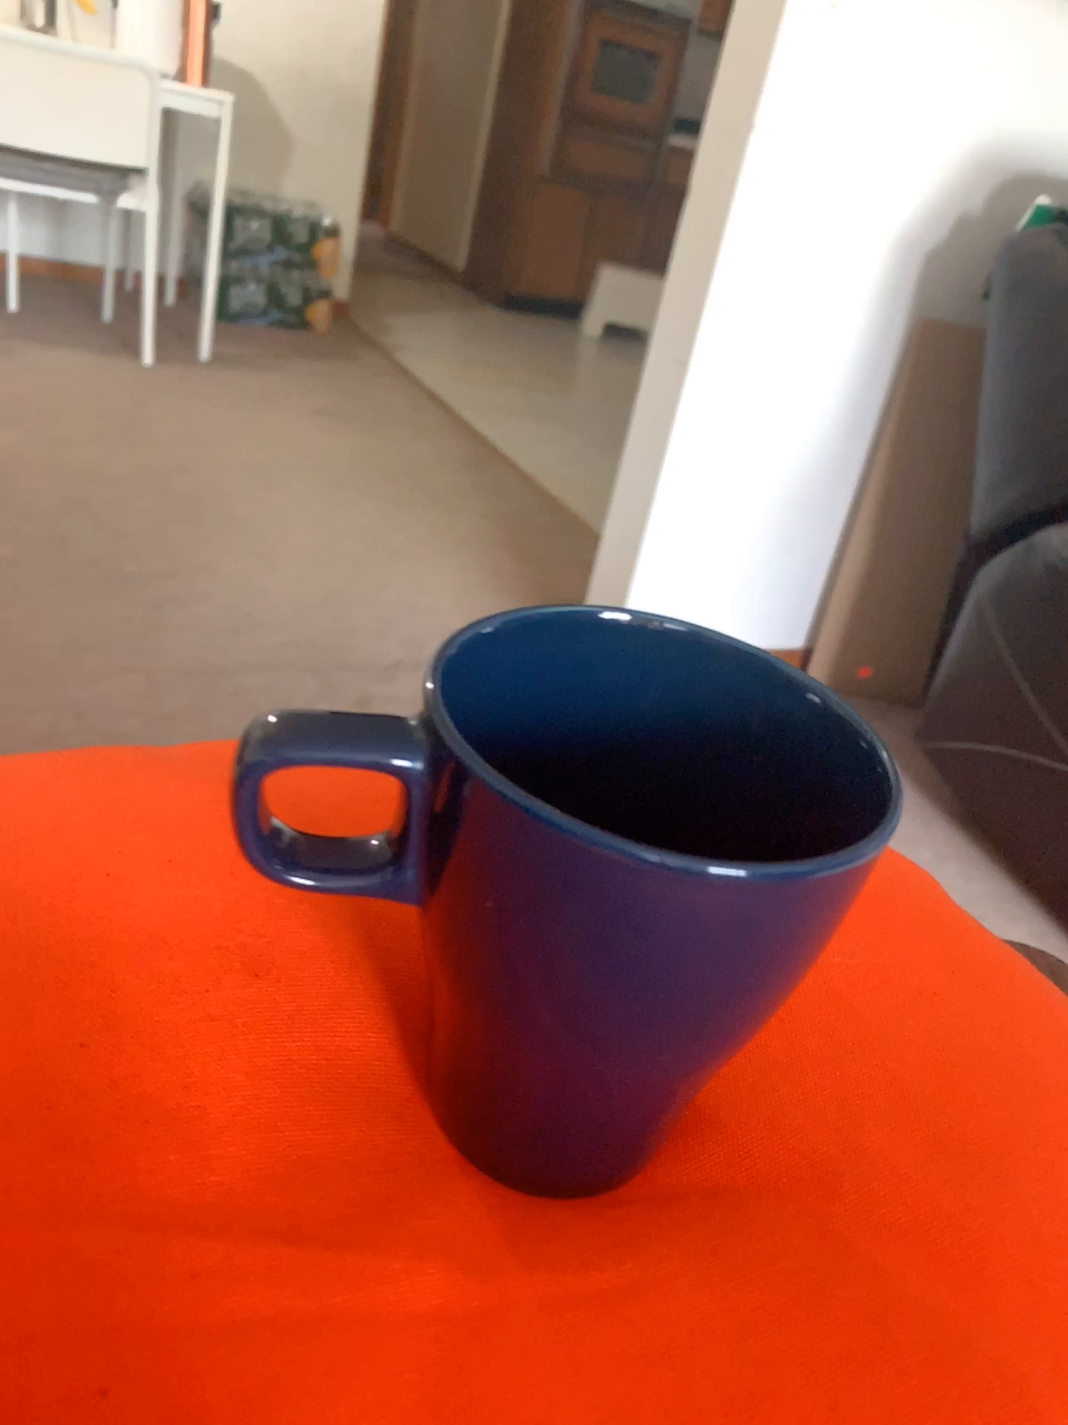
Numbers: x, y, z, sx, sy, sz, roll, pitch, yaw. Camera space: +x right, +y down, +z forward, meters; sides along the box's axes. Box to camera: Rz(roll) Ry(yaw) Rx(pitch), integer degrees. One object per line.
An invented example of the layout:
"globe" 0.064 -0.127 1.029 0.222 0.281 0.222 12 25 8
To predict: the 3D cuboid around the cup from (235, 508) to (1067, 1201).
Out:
"cup" 0.014 0.024 0.197 0.120 0.079 0.081 5 29 -15
